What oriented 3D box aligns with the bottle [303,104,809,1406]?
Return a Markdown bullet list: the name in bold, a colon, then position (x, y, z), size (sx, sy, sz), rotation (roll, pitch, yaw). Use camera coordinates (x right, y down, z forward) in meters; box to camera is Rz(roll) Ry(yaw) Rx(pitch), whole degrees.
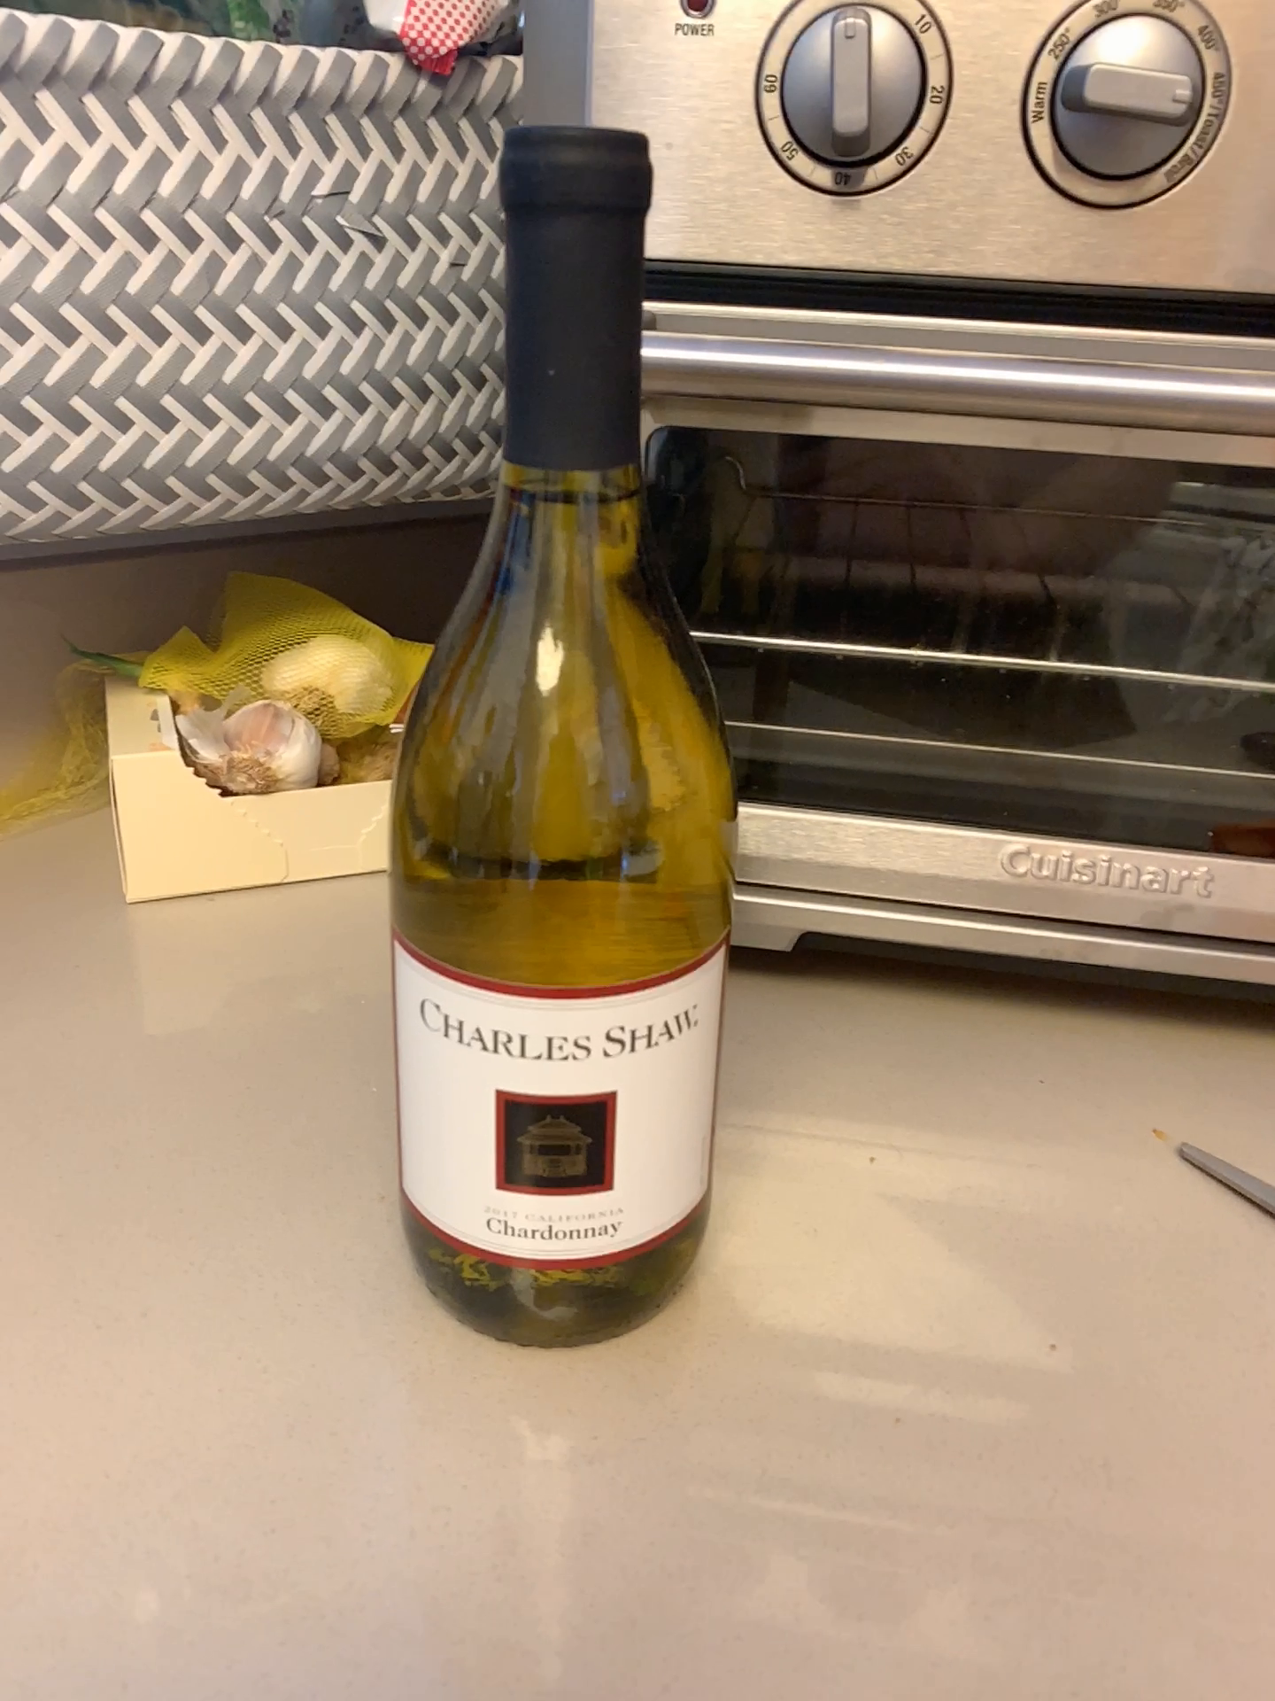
- **bottle**: position (-0.015, -0.008, 0.292), size (0.080, 0.269, 0.070), rotation (5, 24, 4)
